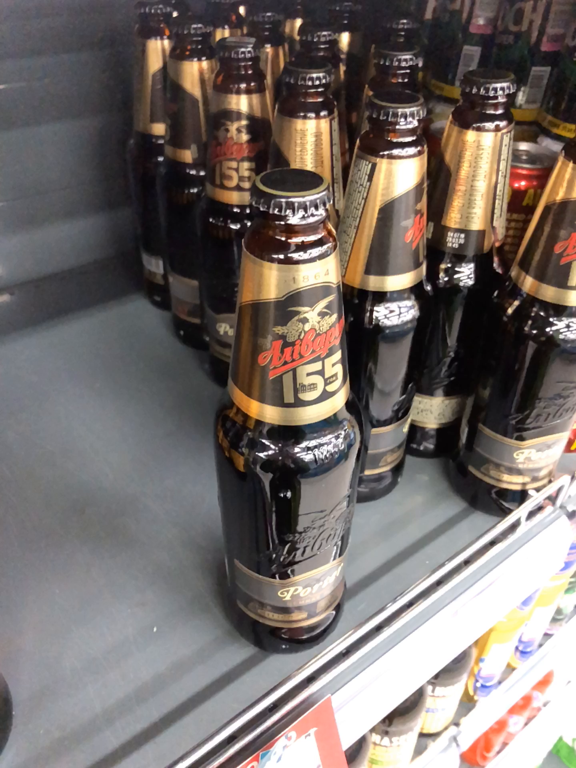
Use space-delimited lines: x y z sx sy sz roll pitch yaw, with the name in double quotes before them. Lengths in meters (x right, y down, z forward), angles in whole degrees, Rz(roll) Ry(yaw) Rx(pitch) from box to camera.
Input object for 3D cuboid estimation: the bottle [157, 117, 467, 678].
"bottle" 0.002 0.025 0.308 0.080 0.263 0.080 1 39 -1
